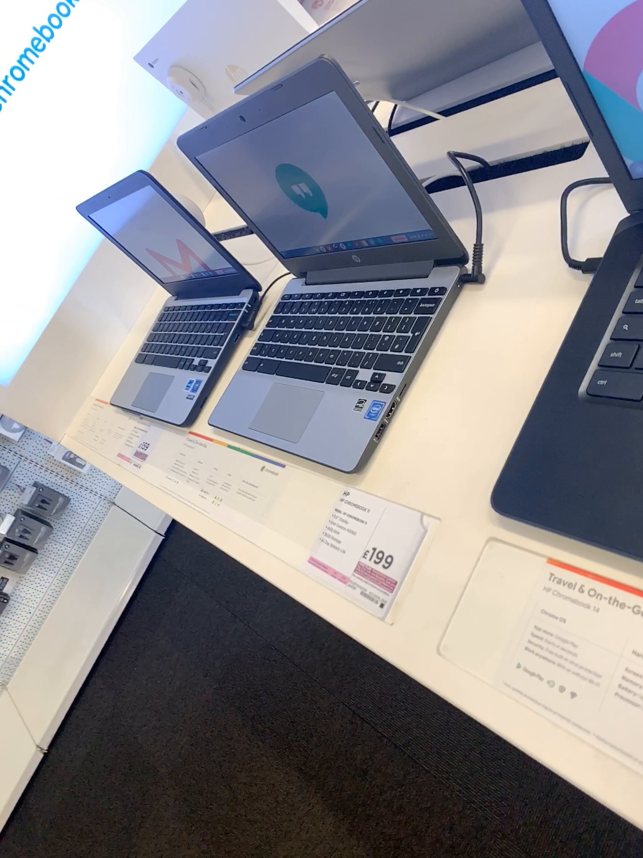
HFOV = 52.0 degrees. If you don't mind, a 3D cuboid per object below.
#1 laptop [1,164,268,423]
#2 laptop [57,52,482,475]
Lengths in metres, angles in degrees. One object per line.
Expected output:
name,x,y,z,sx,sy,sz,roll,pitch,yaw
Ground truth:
laptop,-0.257,-0.168,0.869,0.288,0.180,0.221,13,72,55
laptop,-0.062,-0.129,0.588,0.279,0.185,0.228,14,73,56
